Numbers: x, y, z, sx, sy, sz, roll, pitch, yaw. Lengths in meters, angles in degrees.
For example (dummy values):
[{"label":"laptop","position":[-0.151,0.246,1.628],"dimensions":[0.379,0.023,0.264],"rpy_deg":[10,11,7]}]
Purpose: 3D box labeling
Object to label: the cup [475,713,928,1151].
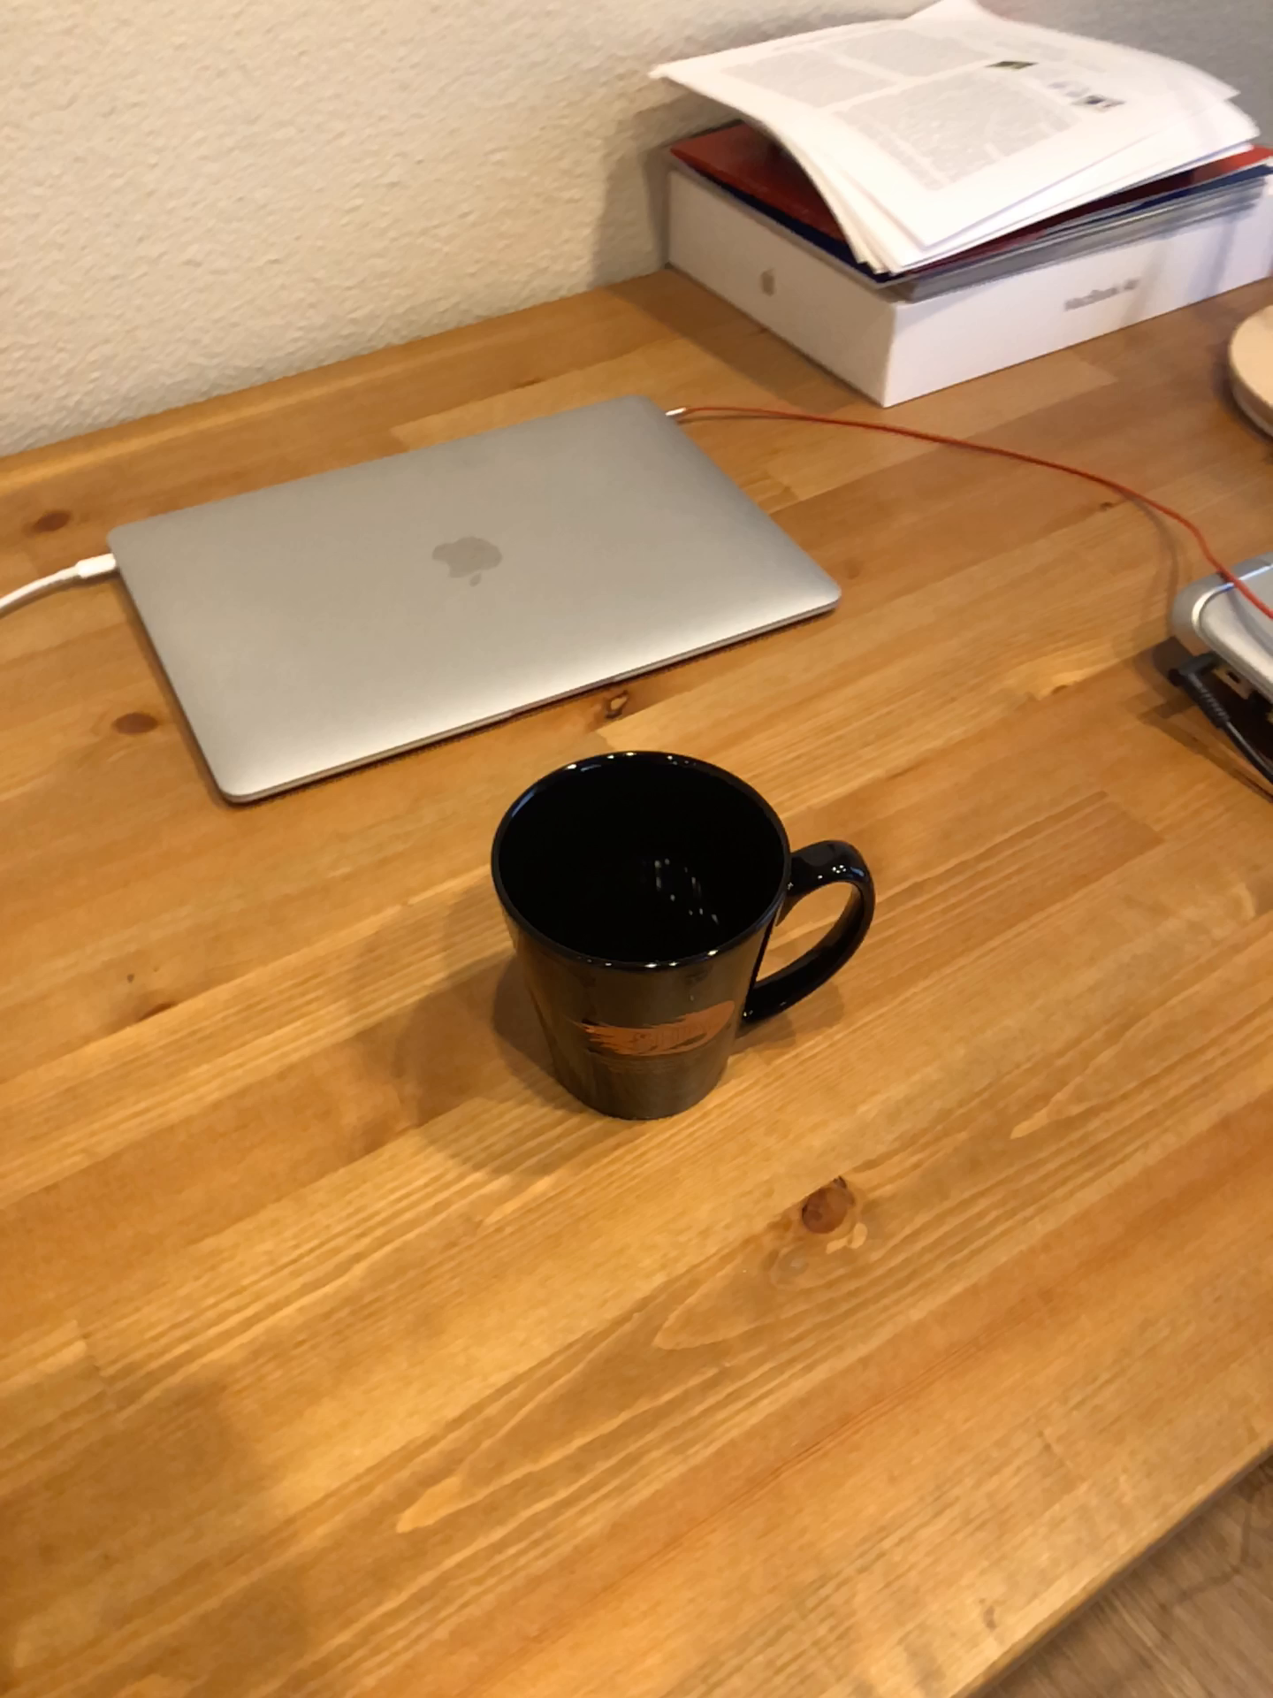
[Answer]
[{"label":"cup","position":[0.015,0.026,0.445],"dimensions":[0.120,0.090,0.090],"rpy_deg":[-5,46,-5]}]
